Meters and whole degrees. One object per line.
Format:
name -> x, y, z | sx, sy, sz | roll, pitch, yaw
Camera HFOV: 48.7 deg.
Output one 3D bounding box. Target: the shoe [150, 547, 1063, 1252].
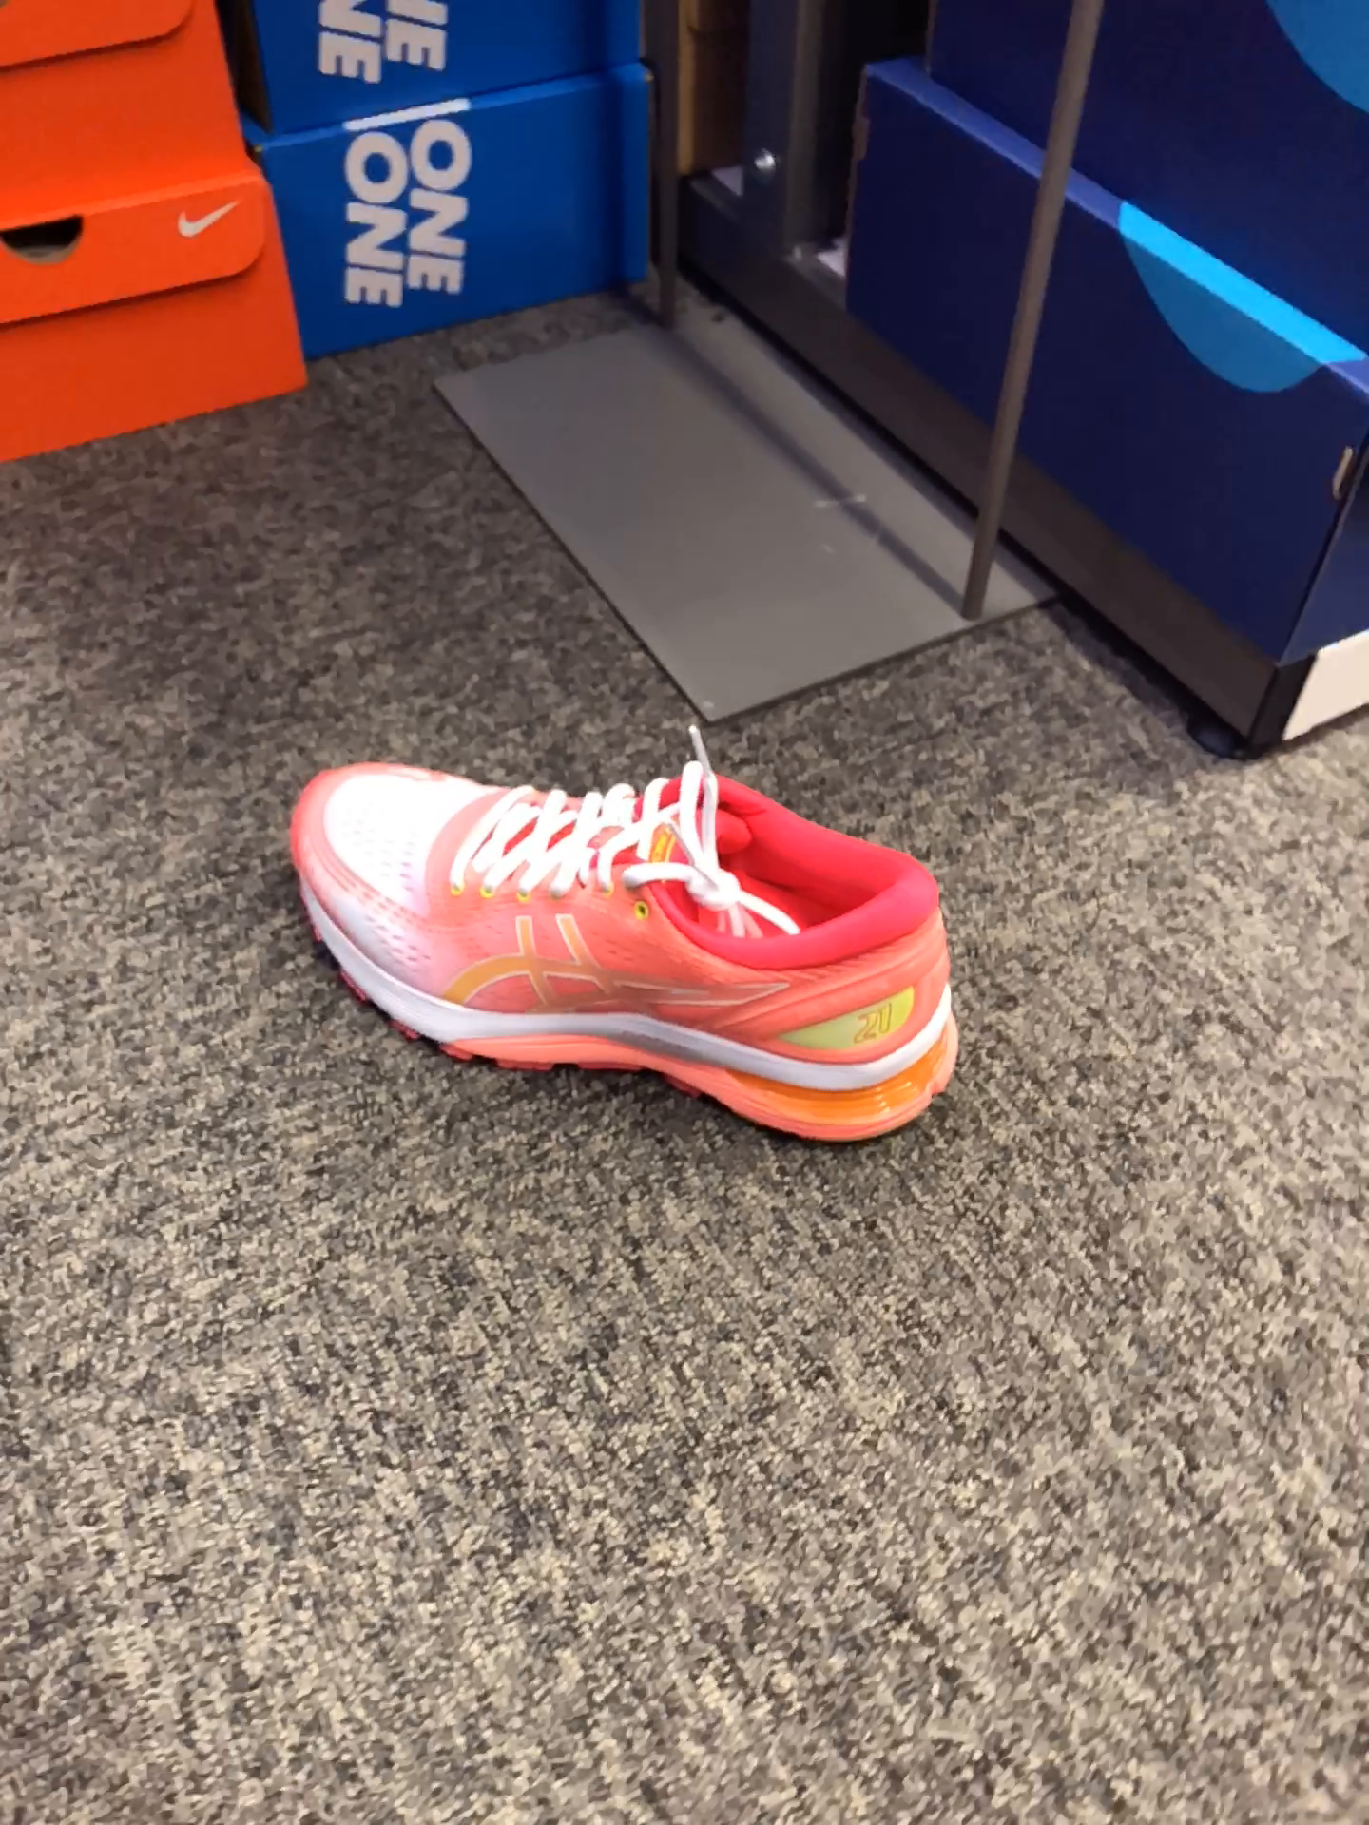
shoe -> -0.026, -0.009, 0.526 | 0.268, 0.129, 0.108 | 20, 51, 15
